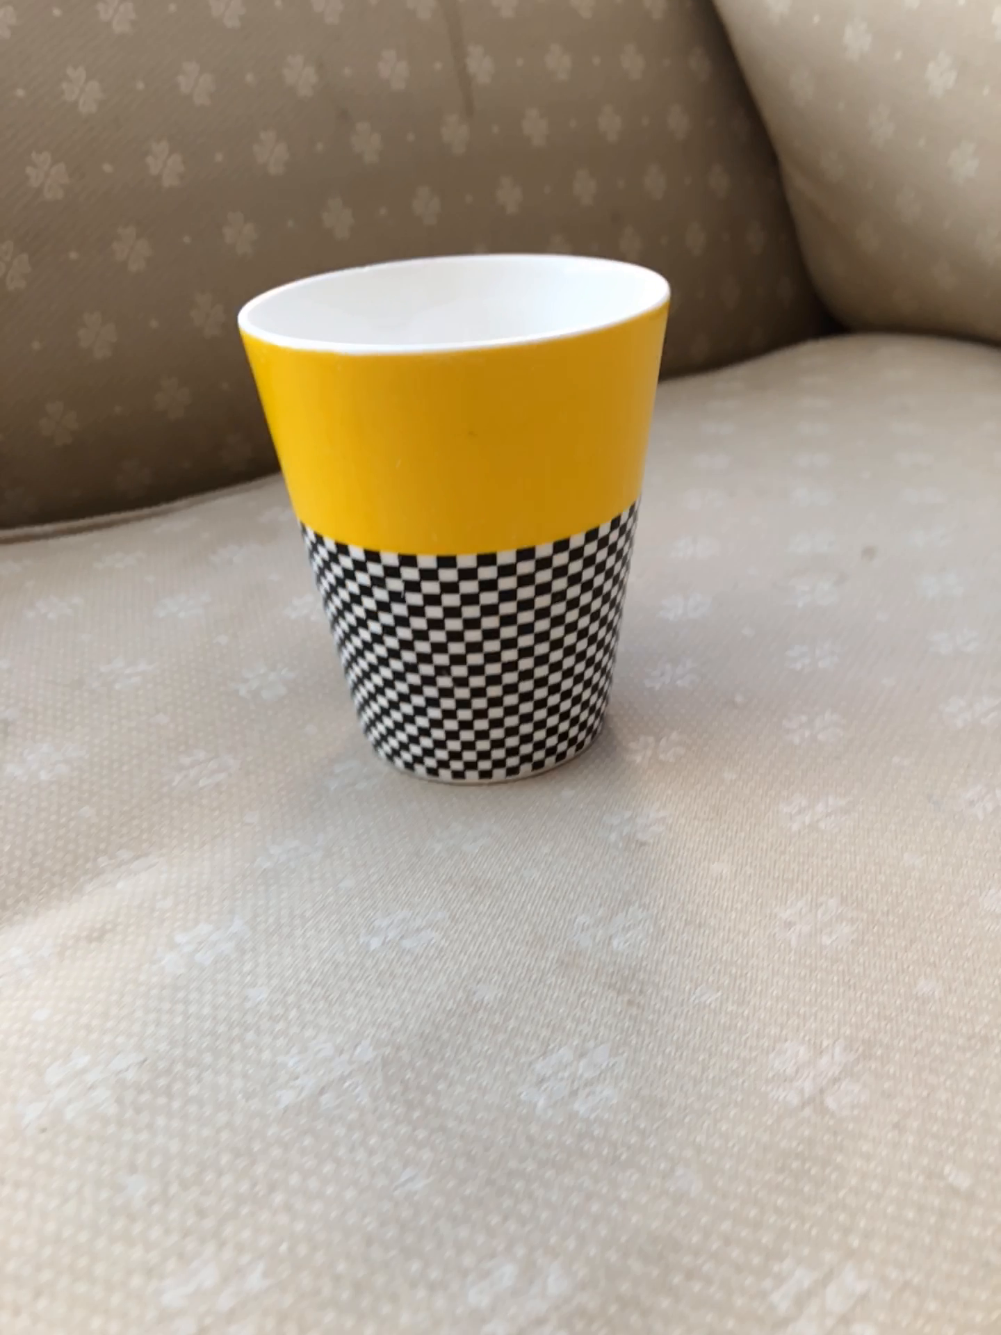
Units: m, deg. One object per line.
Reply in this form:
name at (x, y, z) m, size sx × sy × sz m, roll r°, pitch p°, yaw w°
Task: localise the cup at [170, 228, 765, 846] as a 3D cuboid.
cup at (-0.012, -0.040, 0.255) m, size 0.087 × 0.090 × 0.112 m, roll -16°, pitch 32°, yaw -19°
